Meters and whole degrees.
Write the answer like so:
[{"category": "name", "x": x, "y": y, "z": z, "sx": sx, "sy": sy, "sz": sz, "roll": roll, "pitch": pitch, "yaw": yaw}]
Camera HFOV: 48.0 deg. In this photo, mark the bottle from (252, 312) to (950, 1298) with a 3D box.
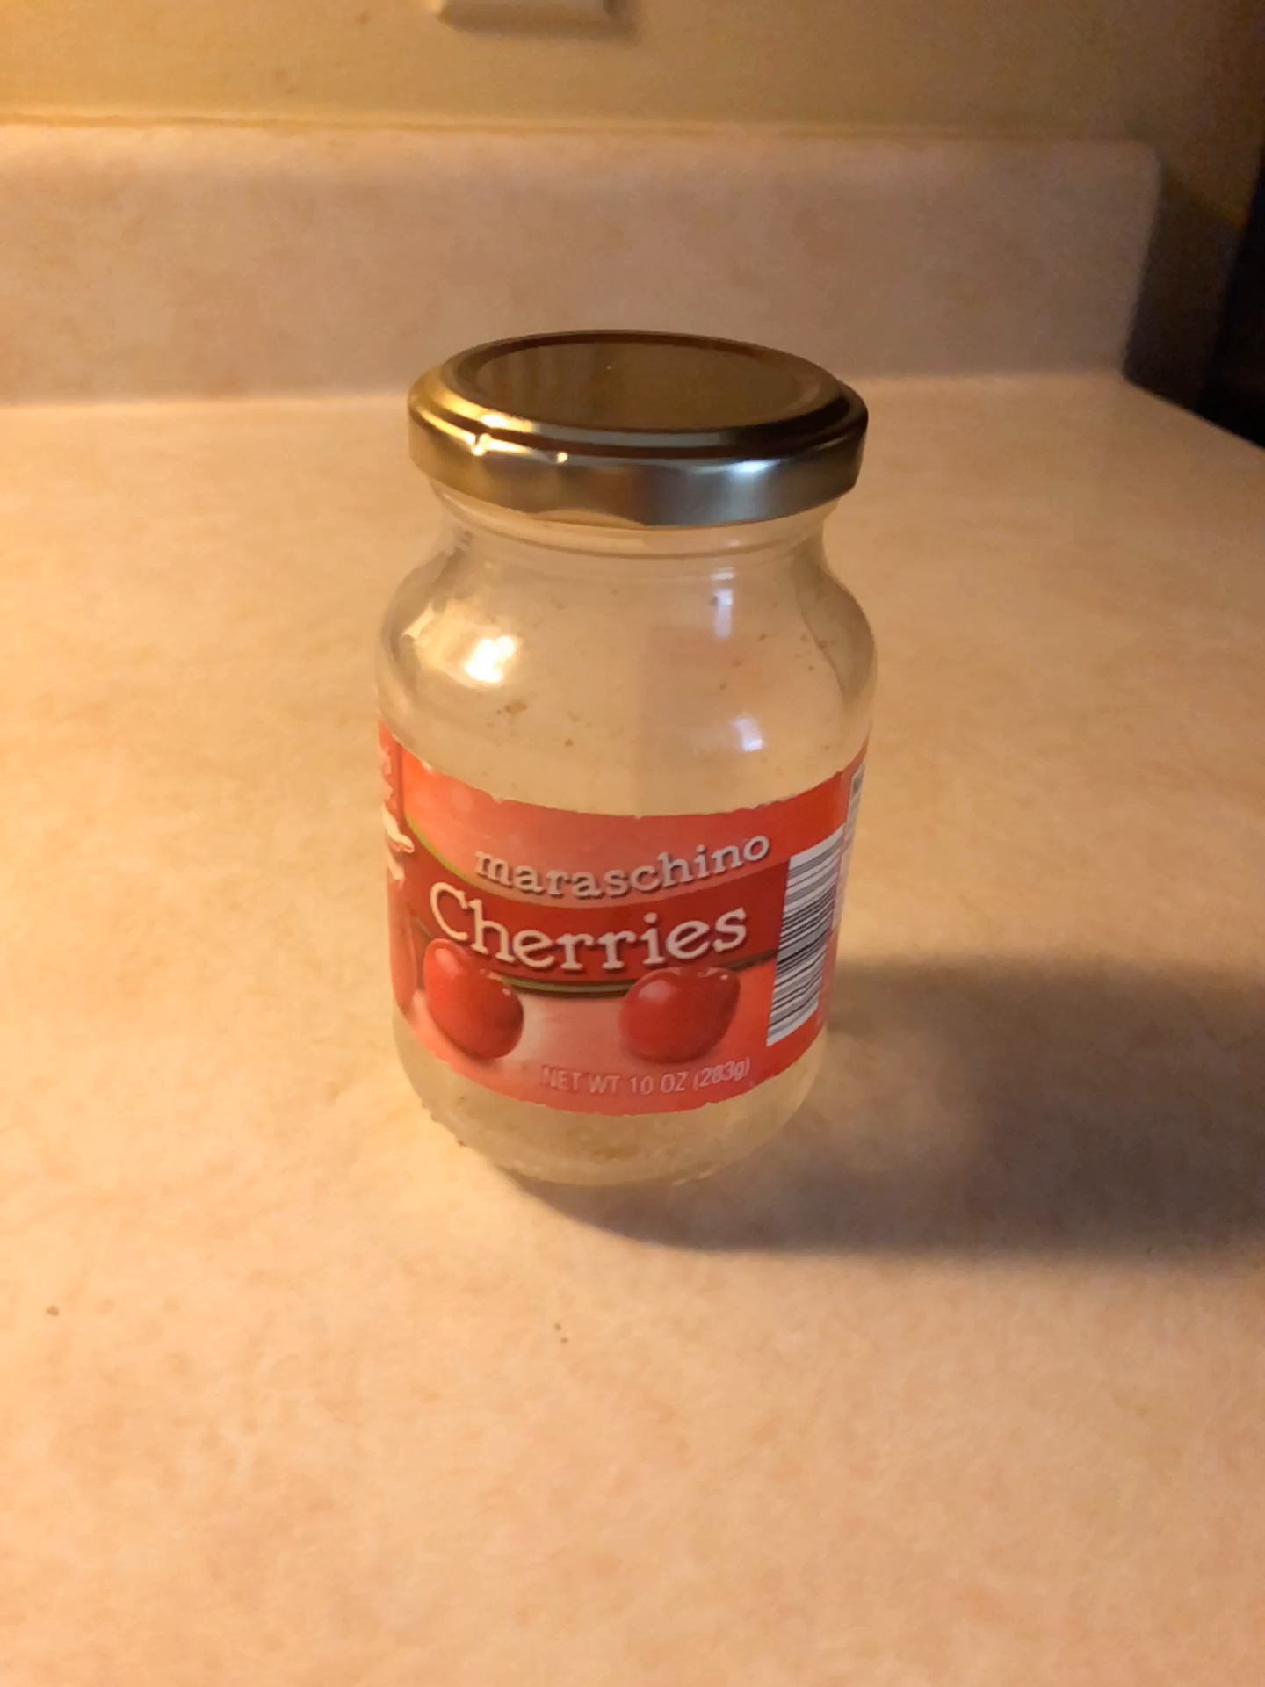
[{"category": "bottle", "x": 0.000, "y": -0.007, "z": 0.198, "sx": 0.070, "sy": 0.110, "sz": 0.070, "roll": 2, "pitch": 31, "yaw": -1}]
